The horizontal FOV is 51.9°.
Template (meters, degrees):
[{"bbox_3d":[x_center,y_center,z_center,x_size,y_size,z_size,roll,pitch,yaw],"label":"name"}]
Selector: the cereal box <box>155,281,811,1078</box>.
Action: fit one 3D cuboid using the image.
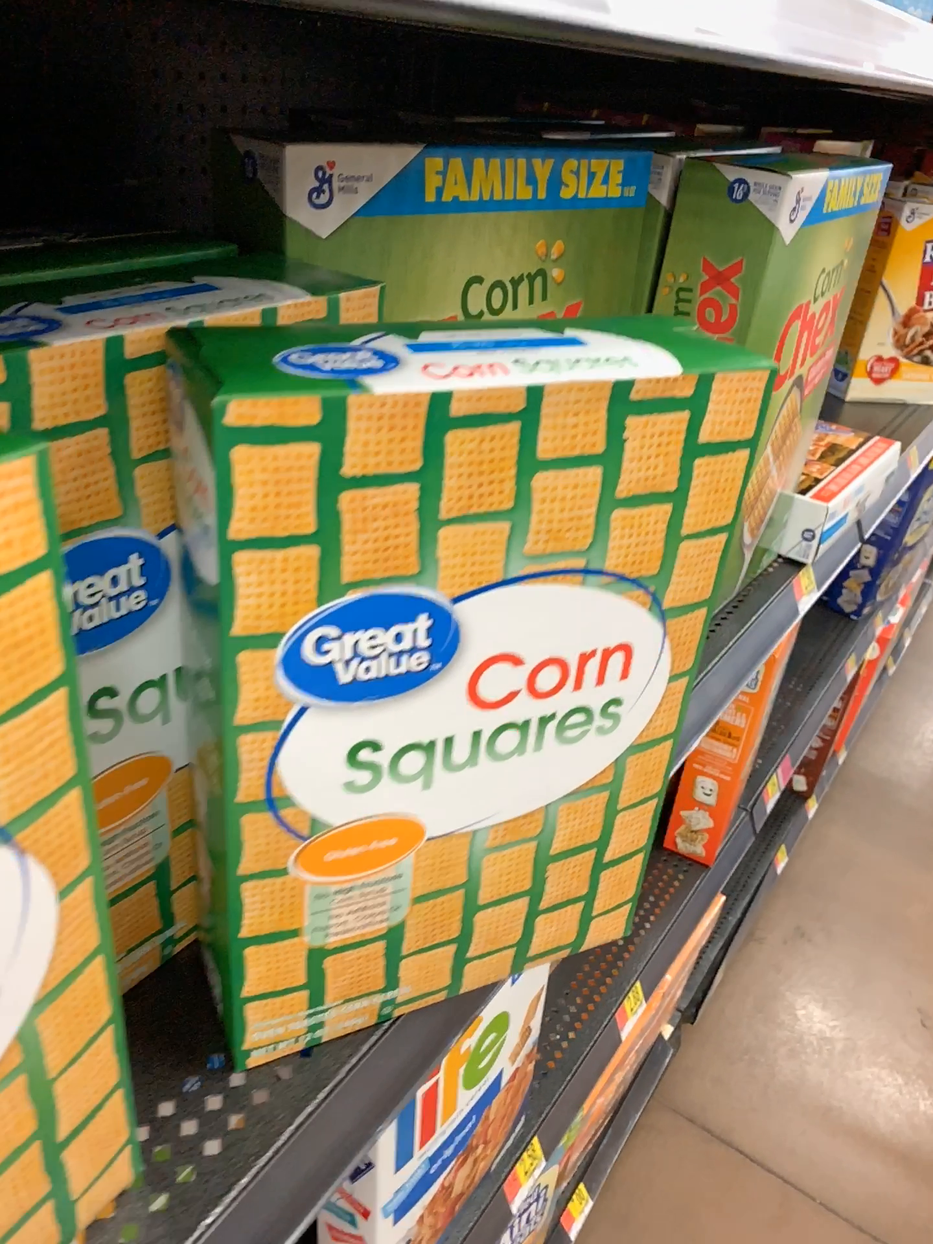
[{"bbox_3d":[-0.005,0.025,0.377,0.200,0.288,0.070,-9,34,-26],"label":"cereal box"}]
